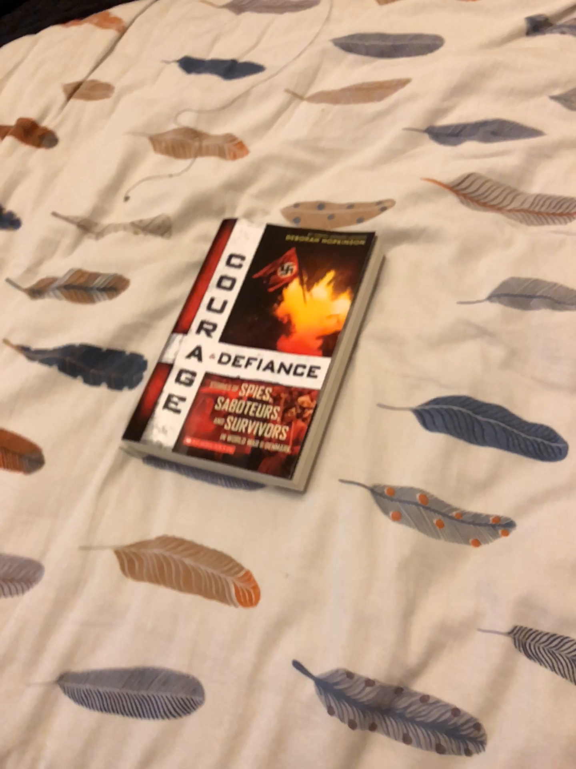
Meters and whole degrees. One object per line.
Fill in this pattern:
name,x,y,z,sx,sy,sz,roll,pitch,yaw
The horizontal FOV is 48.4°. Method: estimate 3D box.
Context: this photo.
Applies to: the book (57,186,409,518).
book,-0.033,-0.039,0.474,0.200,0.020,0.231,11,68,14
